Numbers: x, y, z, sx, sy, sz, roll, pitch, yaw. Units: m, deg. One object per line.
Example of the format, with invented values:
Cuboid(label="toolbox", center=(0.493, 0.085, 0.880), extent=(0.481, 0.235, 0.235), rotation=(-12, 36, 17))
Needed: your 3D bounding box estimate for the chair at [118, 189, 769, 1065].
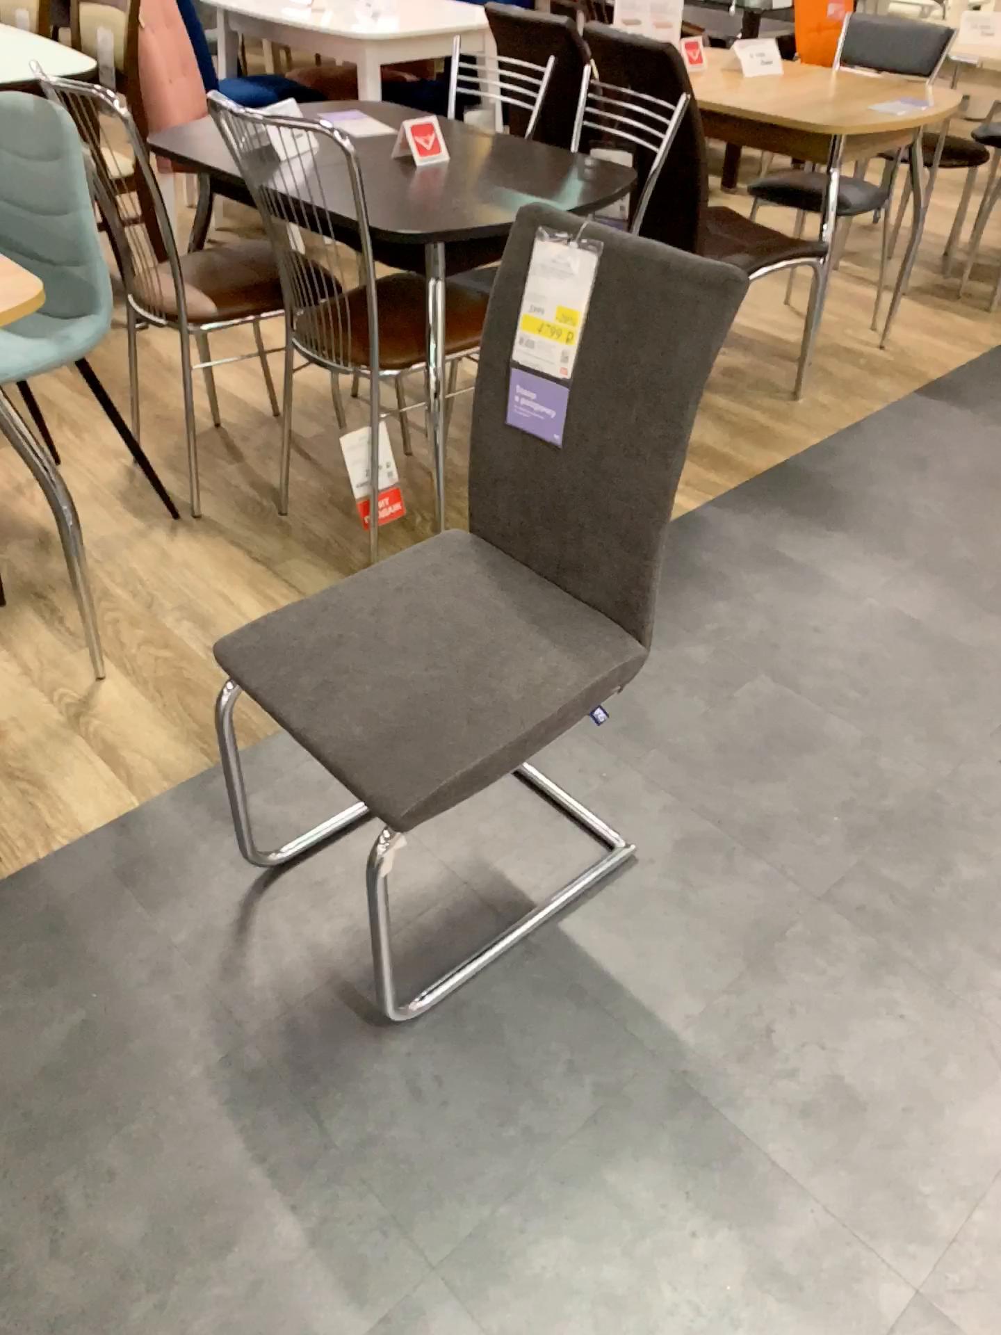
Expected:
Cuboid(label="chair", center=(-0.066, -0.039, 1.400), extent=(0.540, 0.975, 0.437), rotation=(-29, 48, -32))
